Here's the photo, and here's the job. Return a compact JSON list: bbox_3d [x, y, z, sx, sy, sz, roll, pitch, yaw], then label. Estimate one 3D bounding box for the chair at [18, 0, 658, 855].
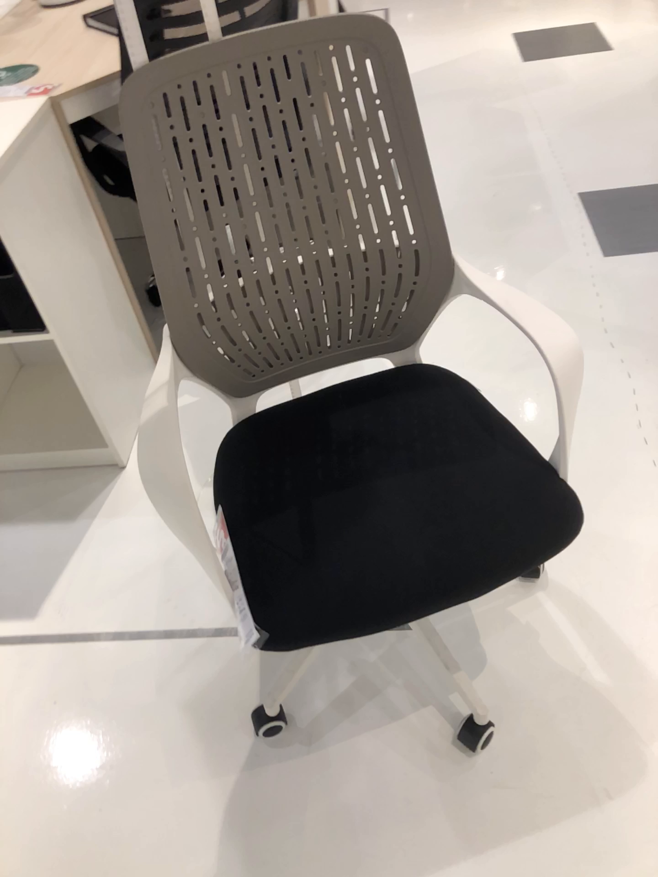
[{"bbox_3d":[0.088,0.004,1.096,0.690,1.003,0.675,-17,45,-7],"label":"chair"}]
